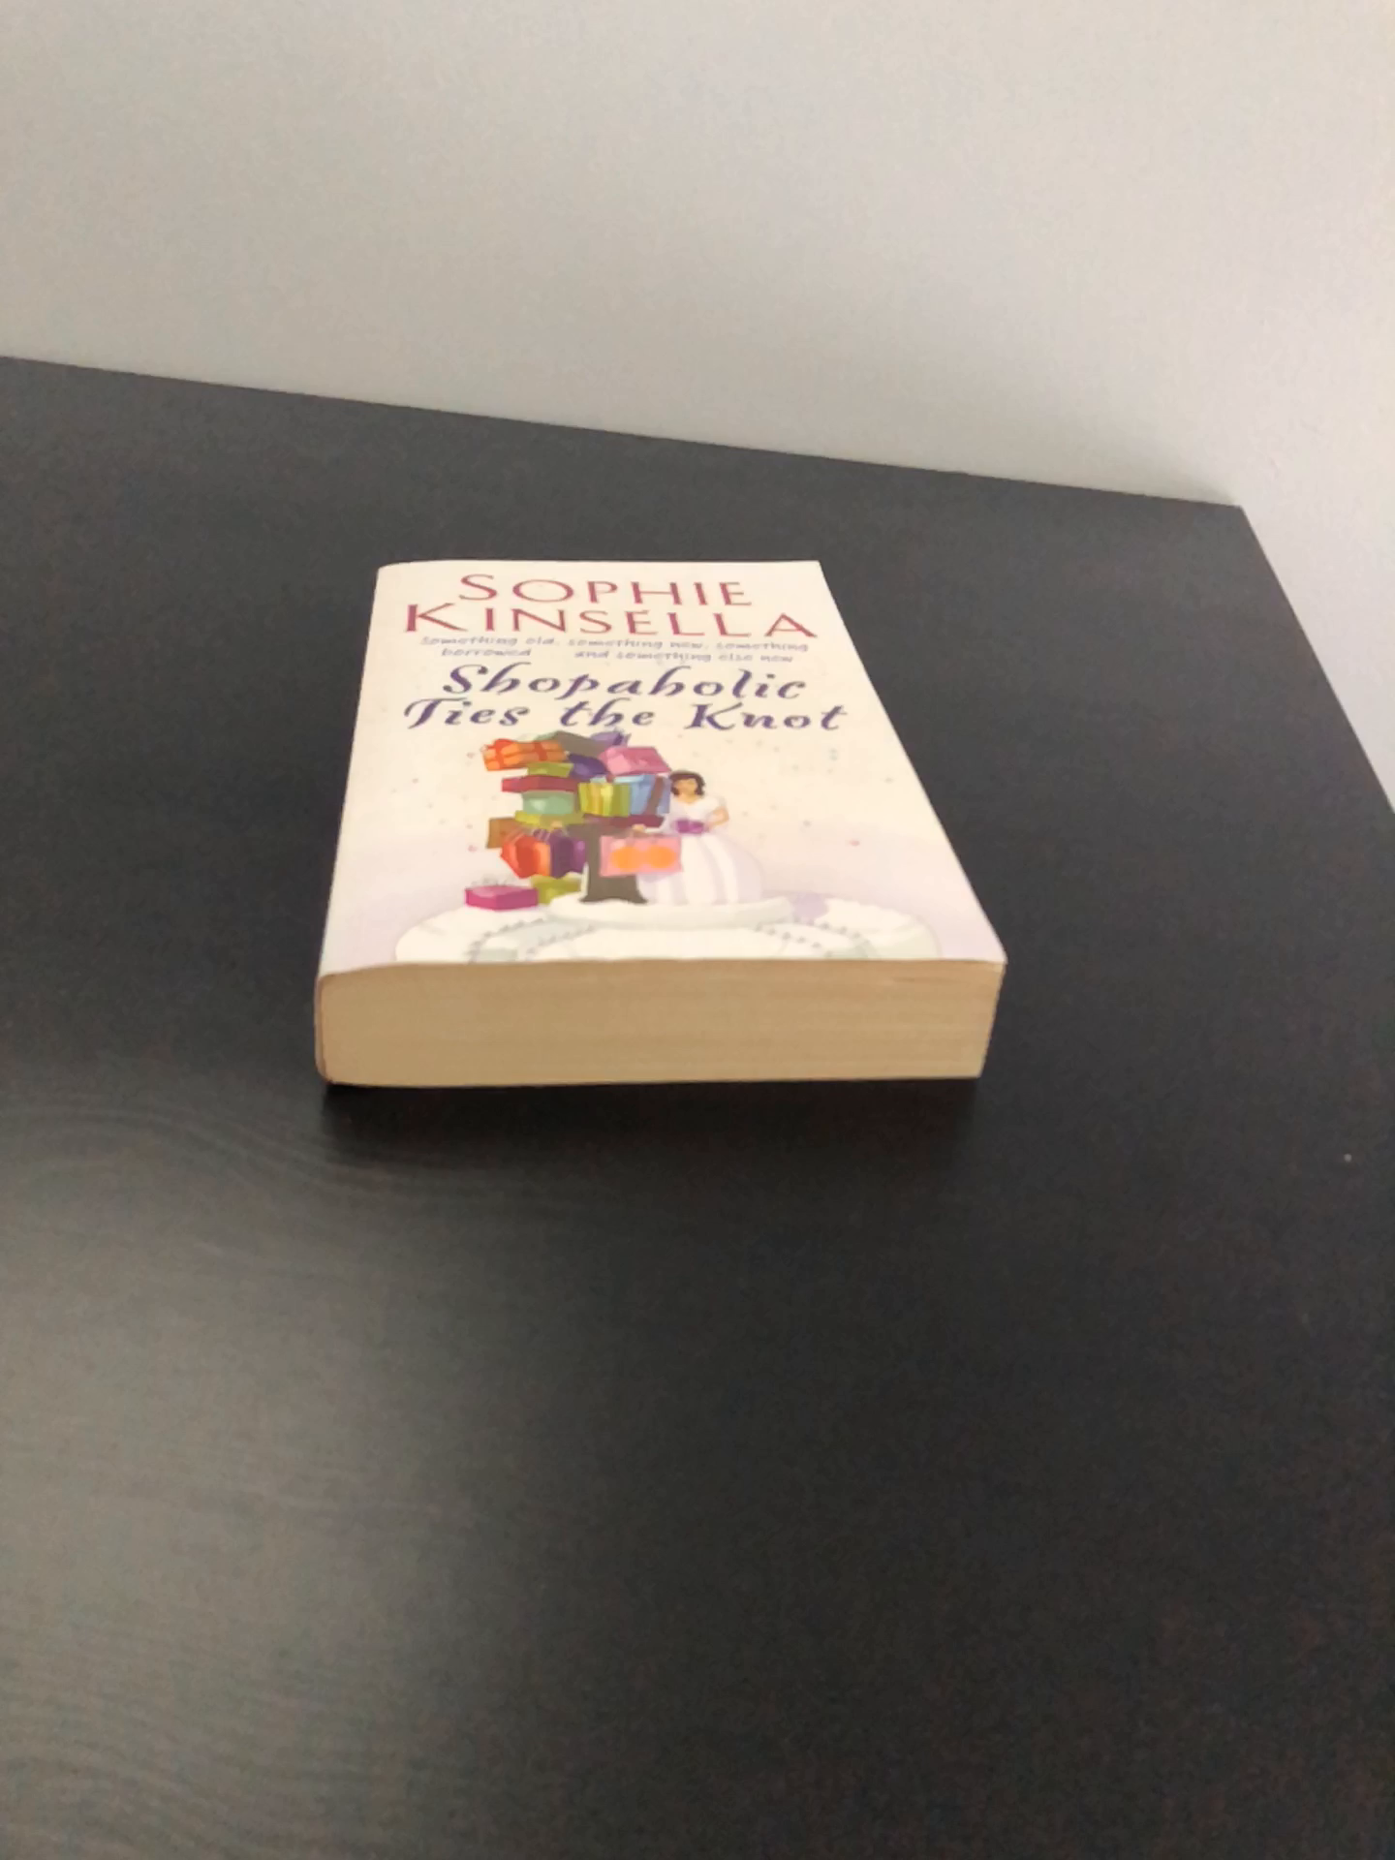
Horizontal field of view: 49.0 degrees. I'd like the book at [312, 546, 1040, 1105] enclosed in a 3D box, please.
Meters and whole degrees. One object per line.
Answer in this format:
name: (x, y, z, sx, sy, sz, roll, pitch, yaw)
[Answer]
book: (-0.014, -0.040, 0.364, 0.130, 0.035, 0.201, -2, 34, -7)
